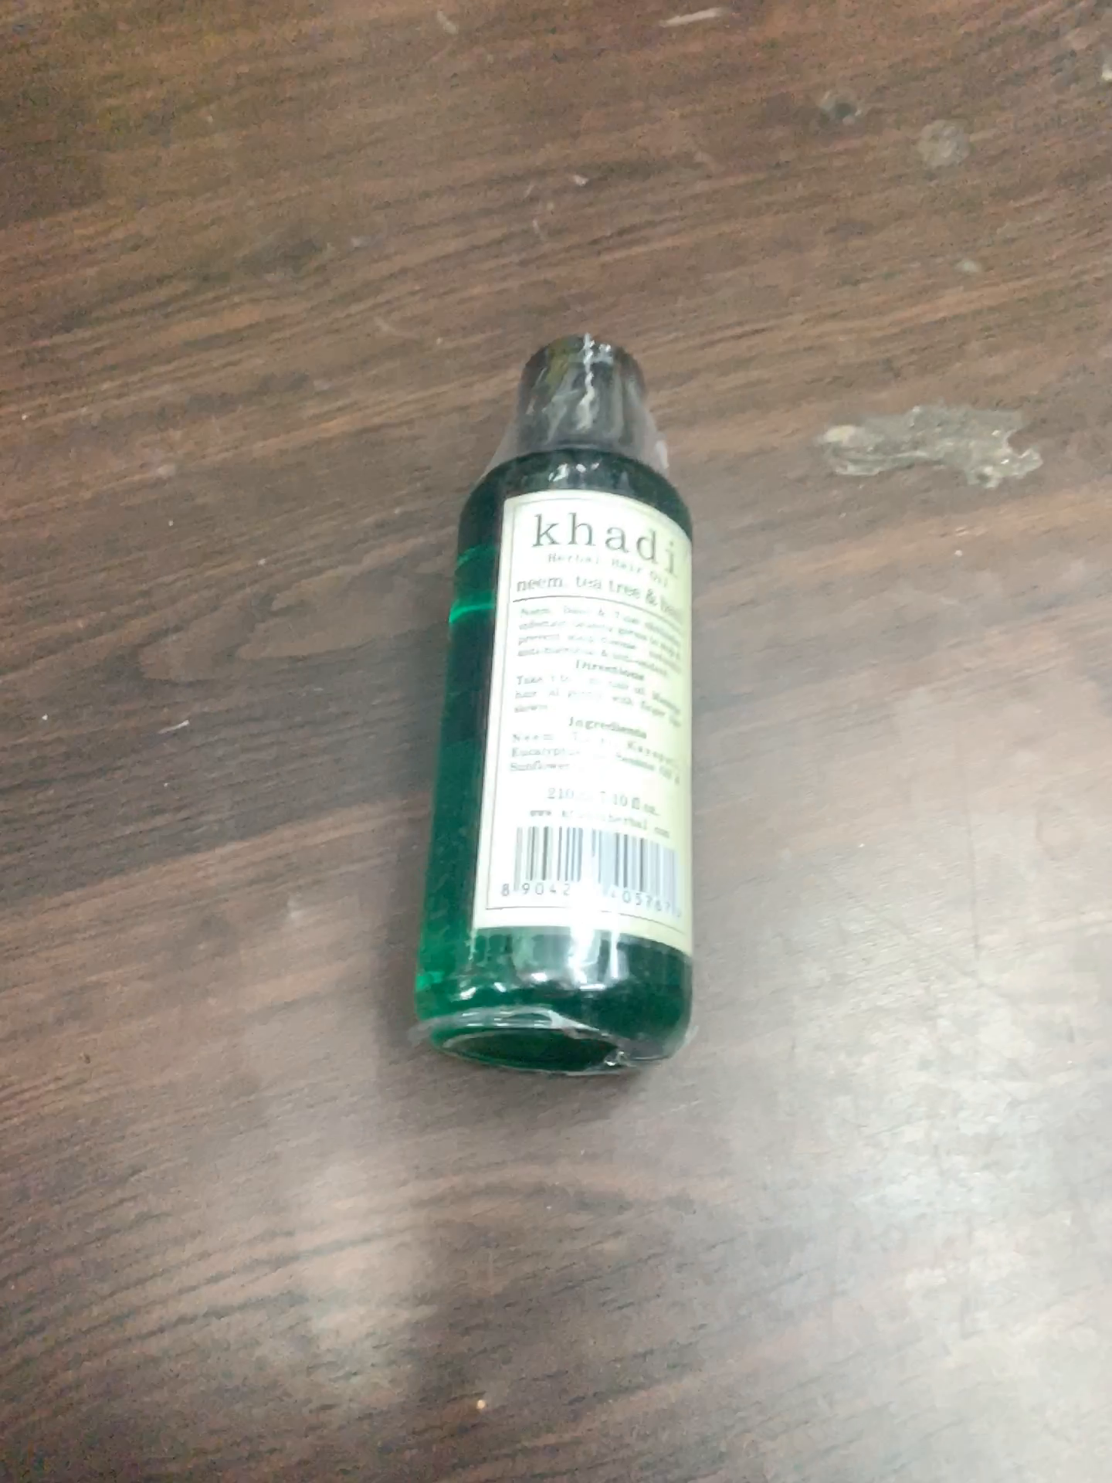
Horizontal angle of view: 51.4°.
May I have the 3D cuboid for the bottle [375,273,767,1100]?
[{"bbox_3d":[0.004,-0.011,0.230,0.050,0.050,0.150,14,63,-23],"label":"bottle"}]
